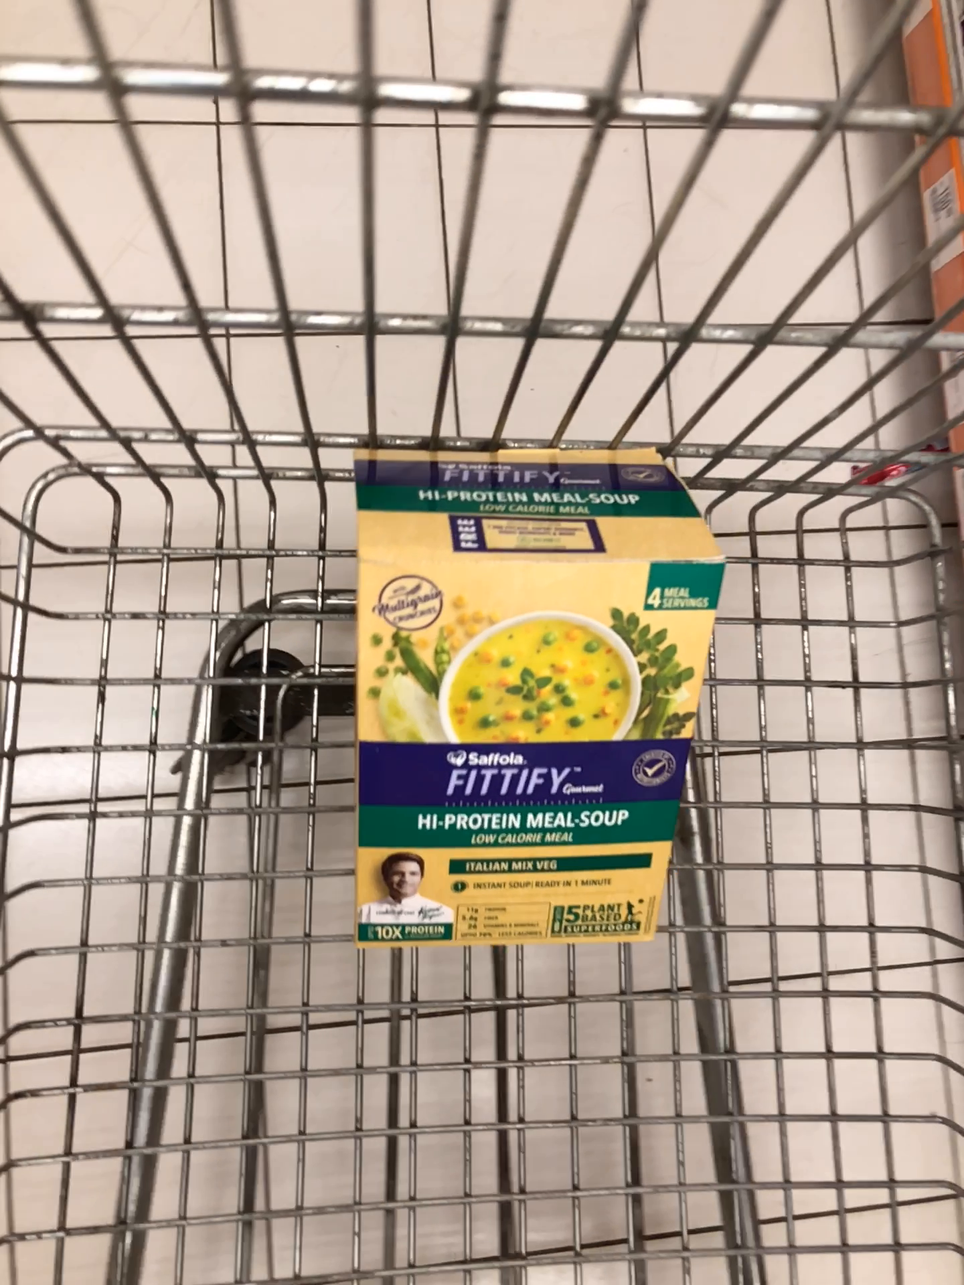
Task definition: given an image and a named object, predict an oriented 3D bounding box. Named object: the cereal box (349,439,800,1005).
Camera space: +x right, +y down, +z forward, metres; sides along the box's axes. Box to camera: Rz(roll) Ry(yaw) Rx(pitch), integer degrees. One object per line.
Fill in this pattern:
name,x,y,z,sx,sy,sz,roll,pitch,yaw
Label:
cereal box,0.018,0.030,0.383,0.130,0.090,0.180,0,119,-7
